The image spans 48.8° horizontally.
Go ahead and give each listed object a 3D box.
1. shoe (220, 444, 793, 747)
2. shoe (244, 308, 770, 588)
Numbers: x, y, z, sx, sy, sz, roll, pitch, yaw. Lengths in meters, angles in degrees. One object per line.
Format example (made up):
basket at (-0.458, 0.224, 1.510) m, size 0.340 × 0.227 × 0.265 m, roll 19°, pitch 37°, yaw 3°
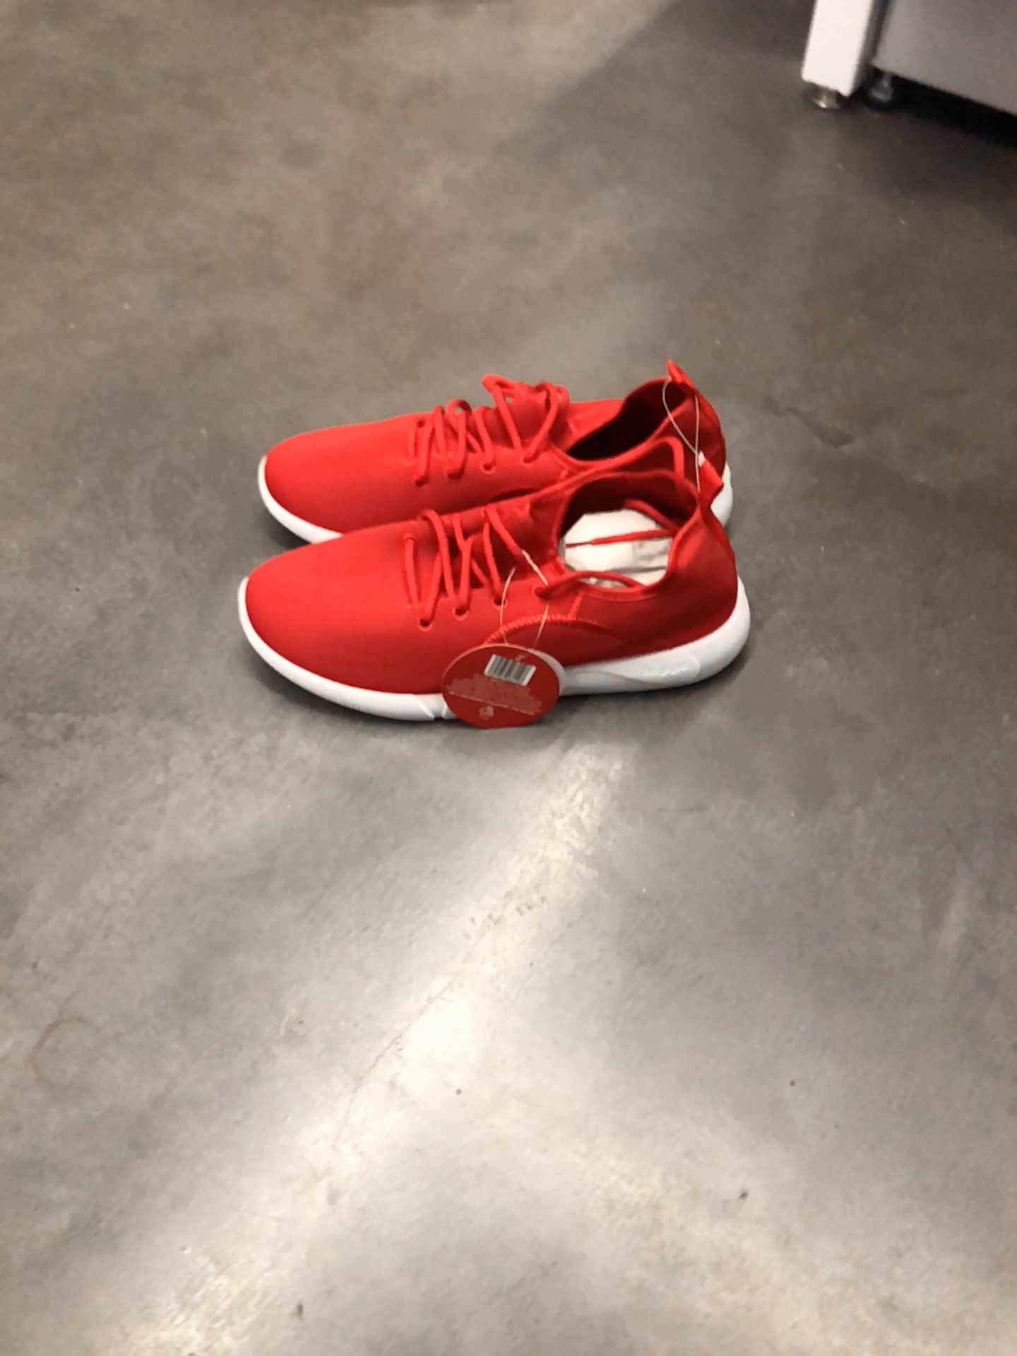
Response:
shoe at (-0.002, -0.039, 0.558) m, size 0.250 × 0.100 × 0.100 m, roll -2°, pitch 57°, yaw -1°
shoe at (-0.001, -0.122, 0.602) m, size 0.250 × 0.100 × 0.100 m, roll -2°, pitch 57°, yaw 0°
